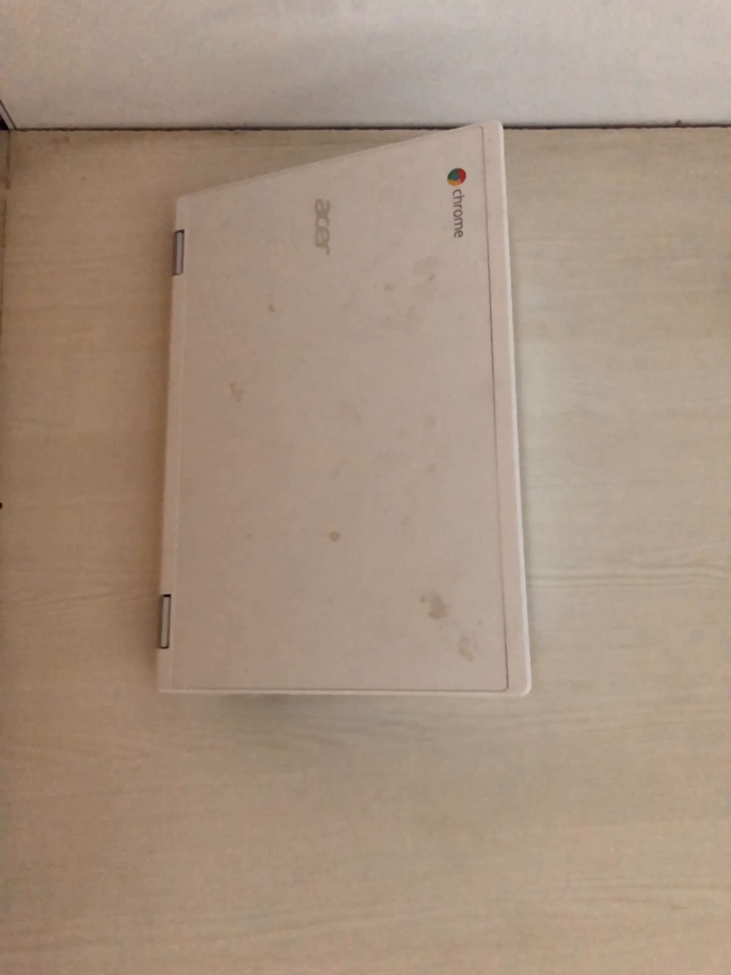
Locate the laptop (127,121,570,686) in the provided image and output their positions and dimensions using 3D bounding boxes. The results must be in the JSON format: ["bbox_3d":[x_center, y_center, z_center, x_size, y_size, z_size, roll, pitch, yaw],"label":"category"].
[{"bbox_3d":[-0.010,-0.040,0.438,0.200,0.093,0.283,0,79,-2],"label":"laptop"}]
